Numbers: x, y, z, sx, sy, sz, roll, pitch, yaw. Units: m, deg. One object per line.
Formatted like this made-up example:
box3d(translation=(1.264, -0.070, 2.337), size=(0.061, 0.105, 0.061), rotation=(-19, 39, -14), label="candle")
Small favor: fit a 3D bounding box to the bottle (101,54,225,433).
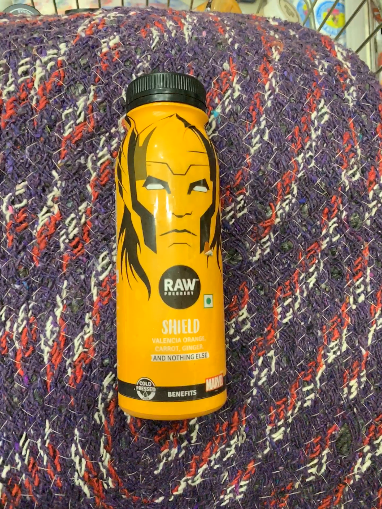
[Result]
box3d(translation=(-0.015, -0.006, 0.193), size=(0.050, 0.050, 0.160), rotation=(0, 84, -7), label="bottle")
